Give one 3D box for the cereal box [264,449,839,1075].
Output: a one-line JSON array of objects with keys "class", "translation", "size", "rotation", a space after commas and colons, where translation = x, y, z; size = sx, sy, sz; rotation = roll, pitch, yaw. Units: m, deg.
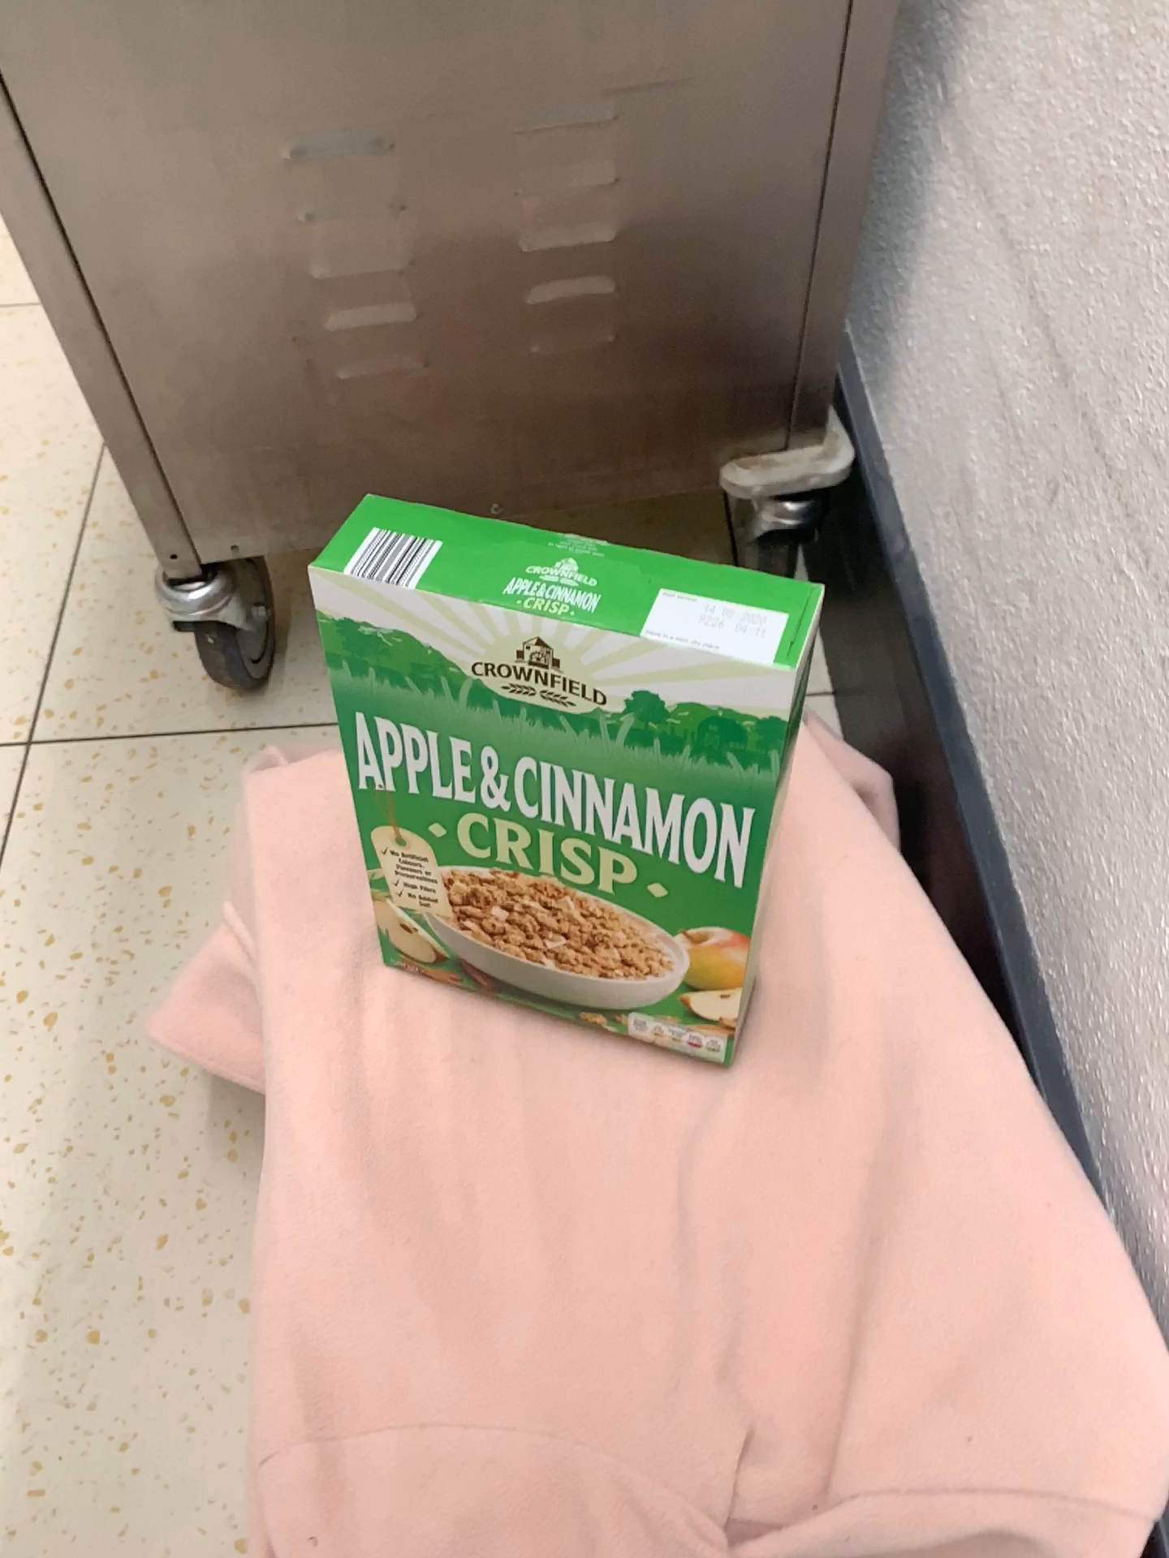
[{"class": "cereal box", "translation": [-0.012, 0.007, 0.510], "size": [0.190, 0.258, 0.060], "rotation": [15, 49, 13]}]
